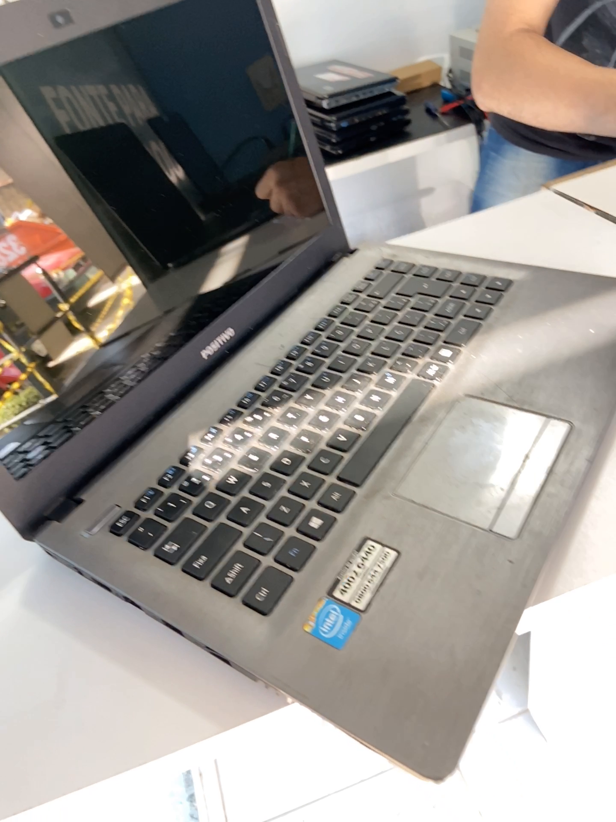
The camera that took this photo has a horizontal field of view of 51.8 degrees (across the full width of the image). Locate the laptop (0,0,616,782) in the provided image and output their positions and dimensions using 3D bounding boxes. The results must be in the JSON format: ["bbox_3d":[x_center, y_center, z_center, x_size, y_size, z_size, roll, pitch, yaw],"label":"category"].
[{"bbox_3d":[-0.002,-0.096,0.315,0.283,0.211,0.336,17,47,32],"label":"laptop"}]
